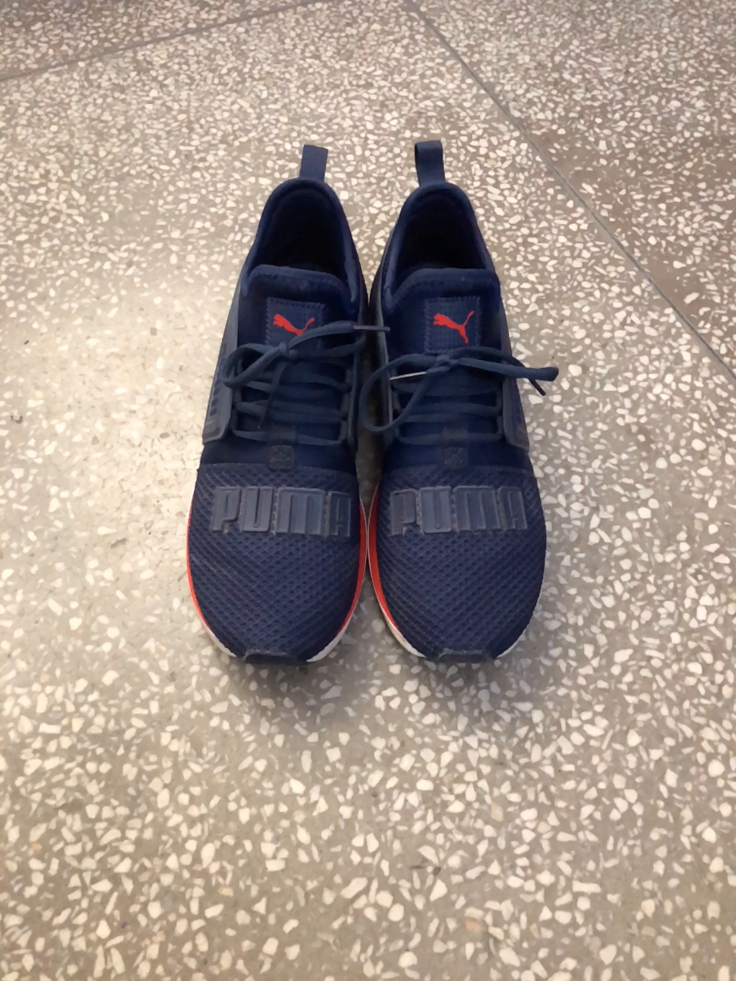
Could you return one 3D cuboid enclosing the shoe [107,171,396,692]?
[{"bbox_3d":[-0.047,-0.037,0.444,0.107,0.113,0.258,4,60,0],"label":"shoe"}]

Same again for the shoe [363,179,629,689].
[{"bbox_3d":[0.052,-0.035,0.445,0.107,0.113,0.258,1,61,-1],"label":"shoe"}]
